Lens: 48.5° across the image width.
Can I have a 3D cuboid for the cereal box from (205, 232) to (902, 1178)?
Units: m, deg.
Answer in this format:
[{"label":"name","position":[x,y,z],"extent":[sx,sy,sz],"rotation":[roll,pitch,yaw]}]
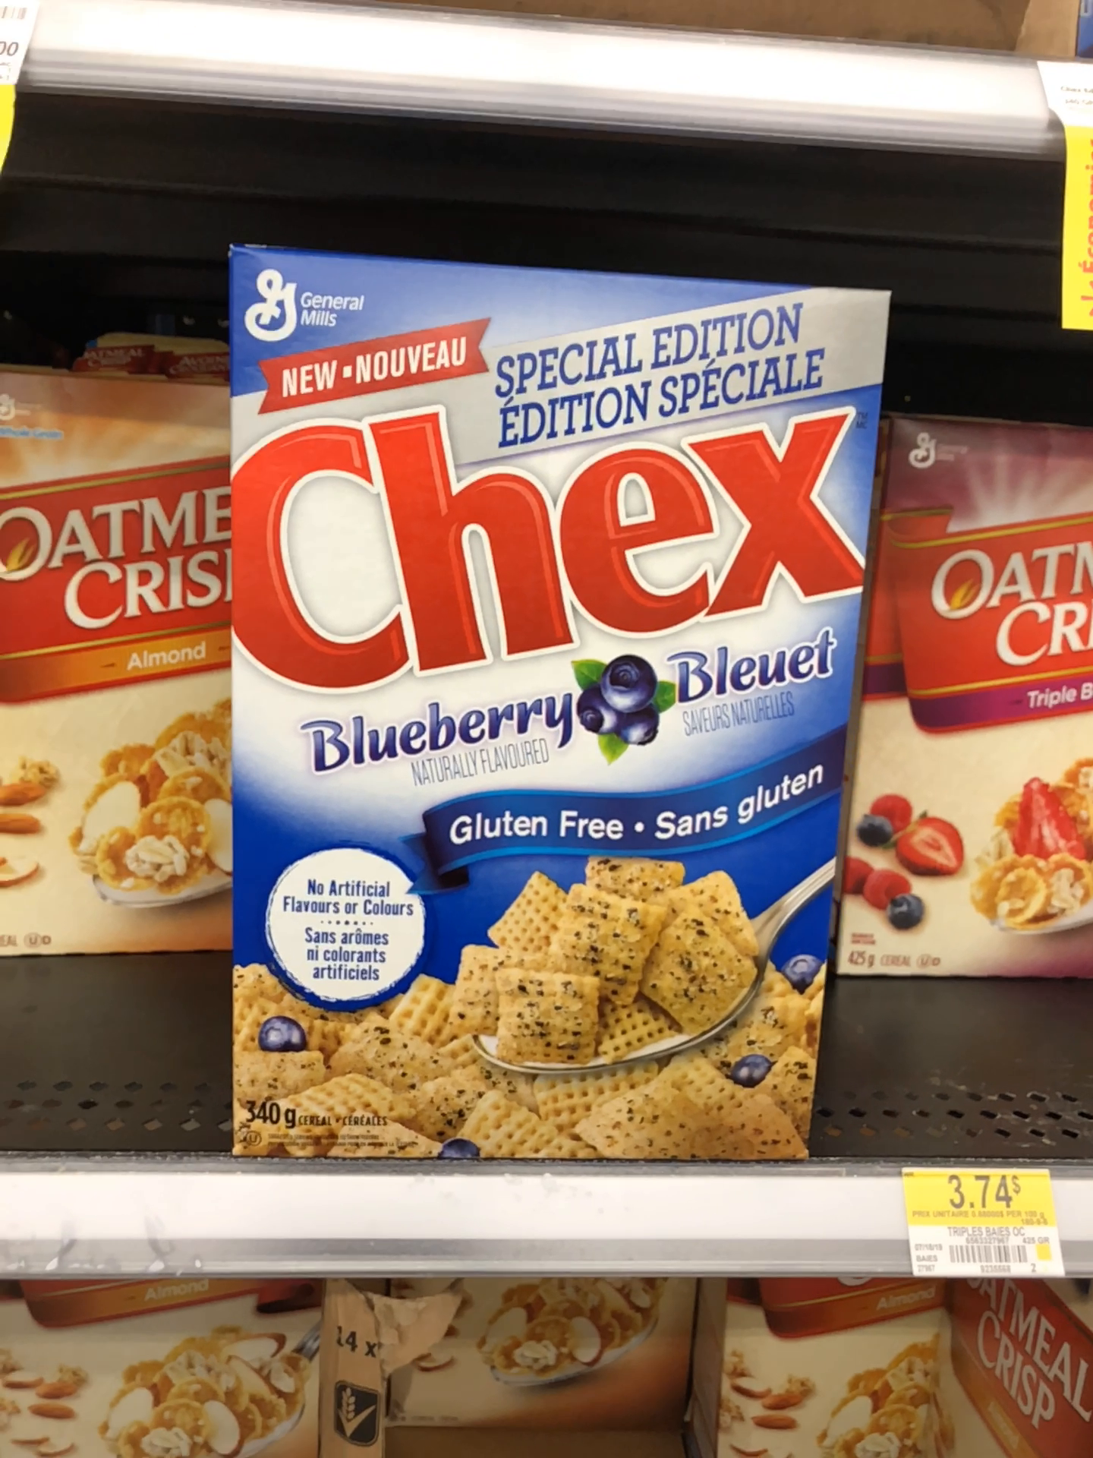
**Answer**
[{"label":"cereal box","position":[-0.005,0.000,0.404],"extent":[0.200,0.289,0.060],"rotation":[2,11,-4]}]
